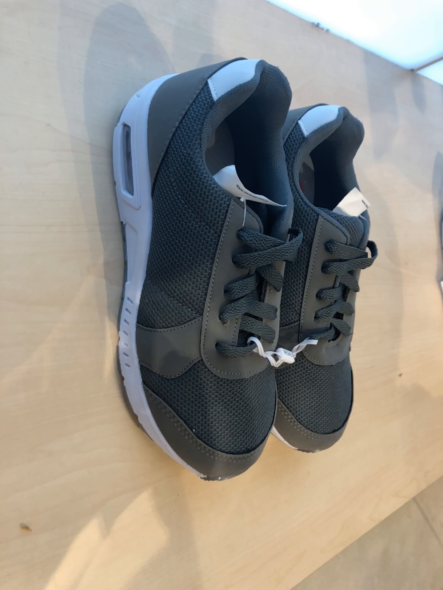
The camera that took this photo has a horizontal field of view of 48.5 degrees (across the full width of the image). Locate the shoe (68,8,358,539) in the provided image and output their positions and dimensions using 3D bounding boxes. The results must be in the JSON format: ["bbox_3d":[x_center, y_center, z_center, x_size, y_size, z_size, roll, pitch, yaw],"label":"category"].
[{"bbox_3d":[-0.005,-0.010,0.282,0.101,0.099,0.230,-6,90,-43],"label":"shoe"}]

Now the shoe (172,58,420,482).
[{"bbox_3d":[0.053,-0.015,0.346,0.101,0.099,0.240,-10,92,-43],"label":"shoe"}]
